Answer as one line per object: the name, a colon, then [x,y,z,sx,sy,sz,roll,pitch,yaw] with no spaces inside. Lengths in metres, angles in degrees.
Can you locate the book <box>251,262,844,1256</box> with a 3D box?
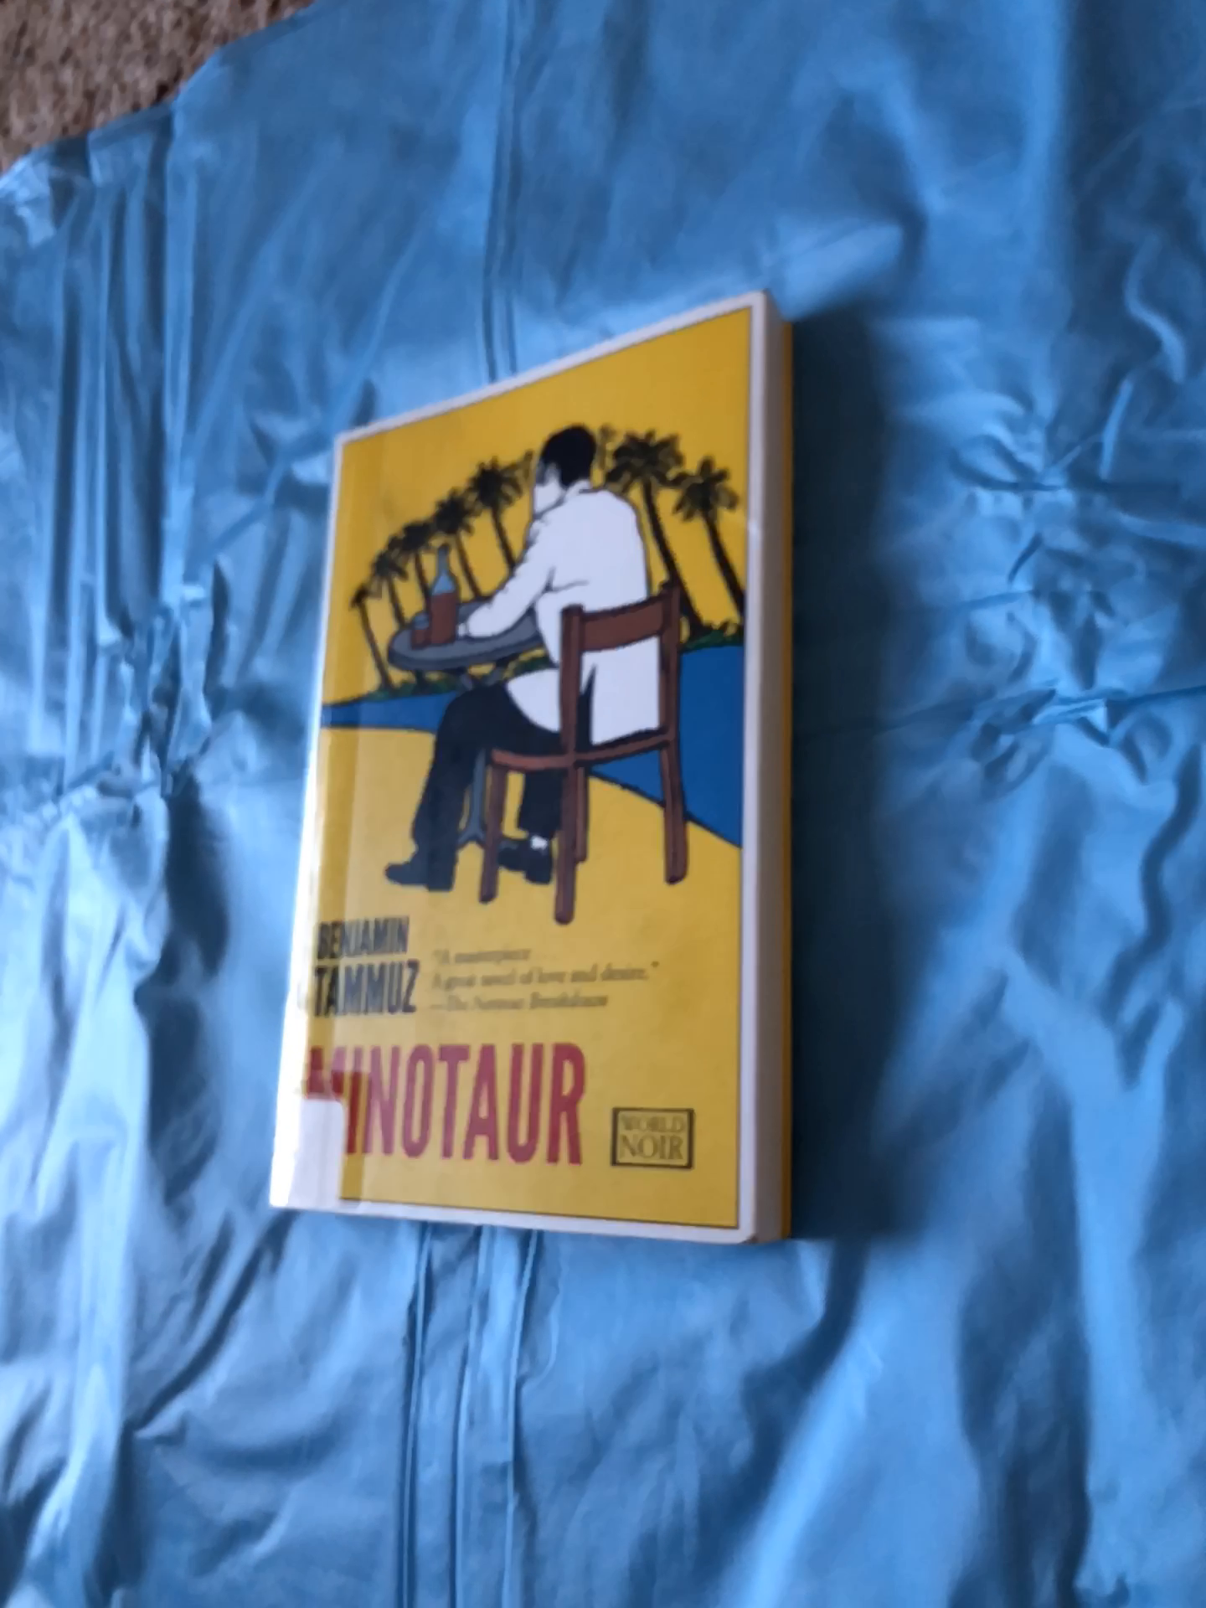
book: [-0.014,-0.008,0.329,0.142,0.027,0.212,-7,73,32]
